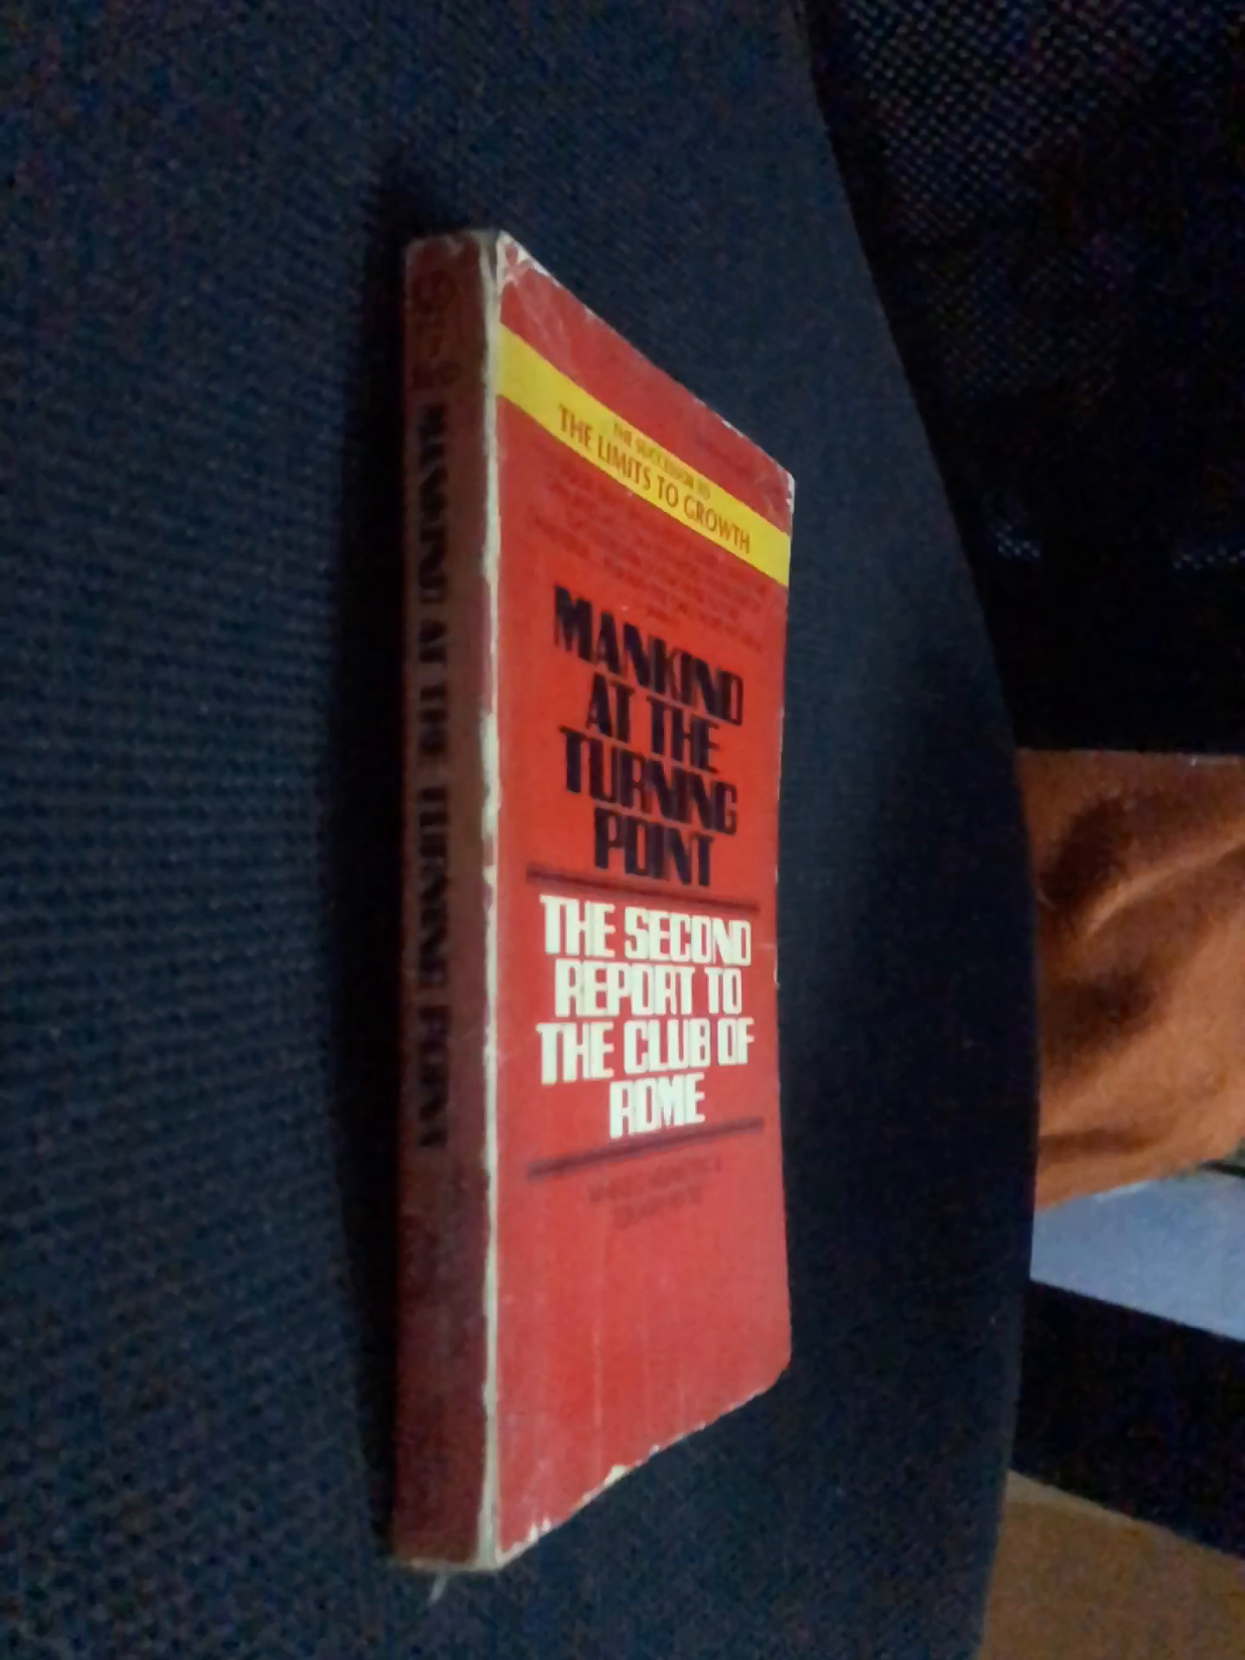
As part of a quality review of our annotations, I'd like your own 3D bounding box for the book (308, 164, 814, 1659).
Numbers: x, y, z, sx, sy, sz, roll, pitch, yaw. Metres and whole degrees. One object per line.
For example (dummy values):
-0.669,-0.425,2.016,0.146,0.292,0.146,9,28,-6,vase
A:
0.000,0.011,0.236,0.117,0.025,0.194,11,78,-61,book
